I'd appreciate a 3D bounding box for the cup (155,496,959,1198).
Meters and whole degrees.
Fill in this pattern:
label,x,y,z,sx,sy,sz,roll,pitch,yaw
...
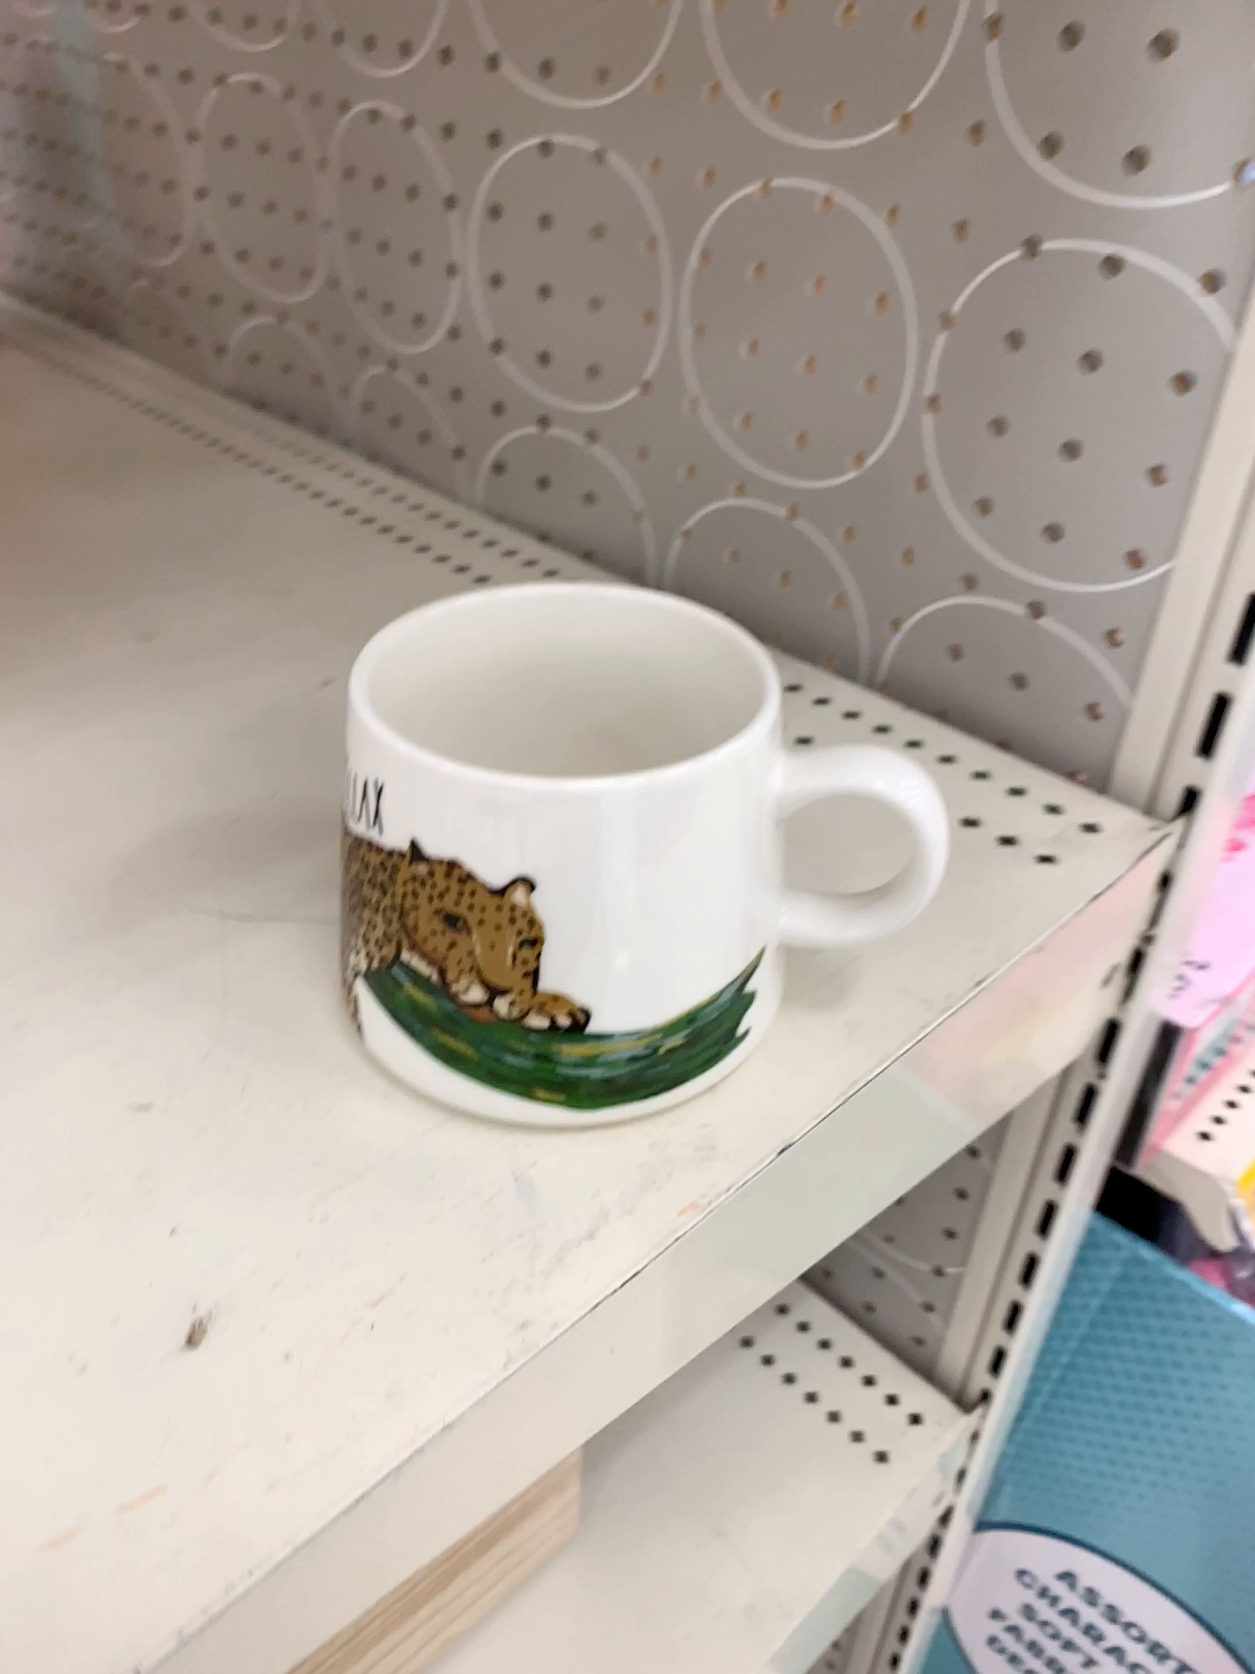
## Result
label,x,y,z,sx,sy,sz,roll,pitch,yaw
cup,-0.006,-0.005,0.292,0.140,0.090,0.111,8,36,8
